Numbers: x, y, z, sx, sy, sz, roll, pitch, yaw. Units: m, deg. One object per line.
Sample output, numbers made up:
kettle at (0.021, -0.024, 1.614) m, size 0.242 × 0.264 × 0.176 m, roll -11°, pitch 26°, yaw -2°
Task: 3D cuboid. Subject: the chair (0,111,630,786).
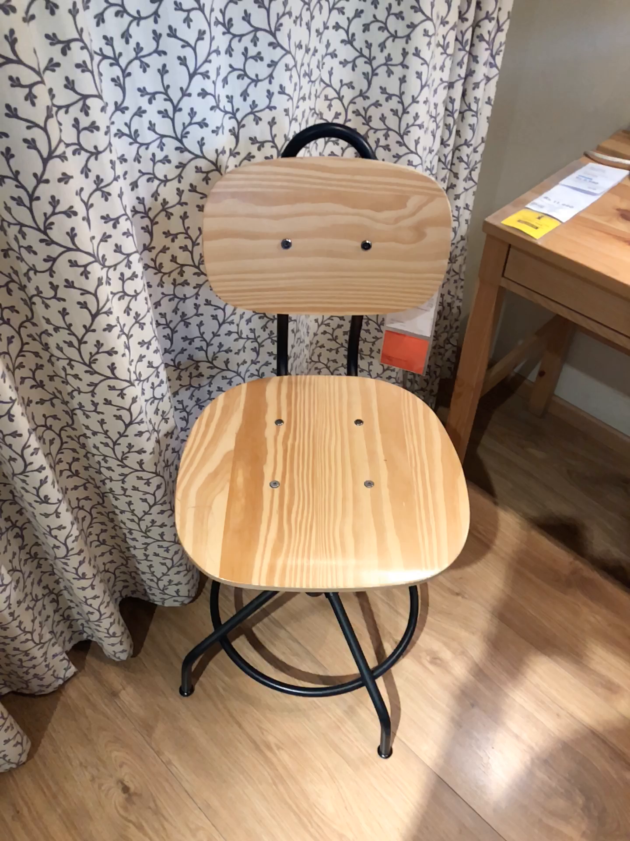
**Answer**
chair at (0.002, 0.087, 0.986) m, size 0.520 × 0.815 × 0.553 m, roll -1°, pitch 46°, yaw -1°
